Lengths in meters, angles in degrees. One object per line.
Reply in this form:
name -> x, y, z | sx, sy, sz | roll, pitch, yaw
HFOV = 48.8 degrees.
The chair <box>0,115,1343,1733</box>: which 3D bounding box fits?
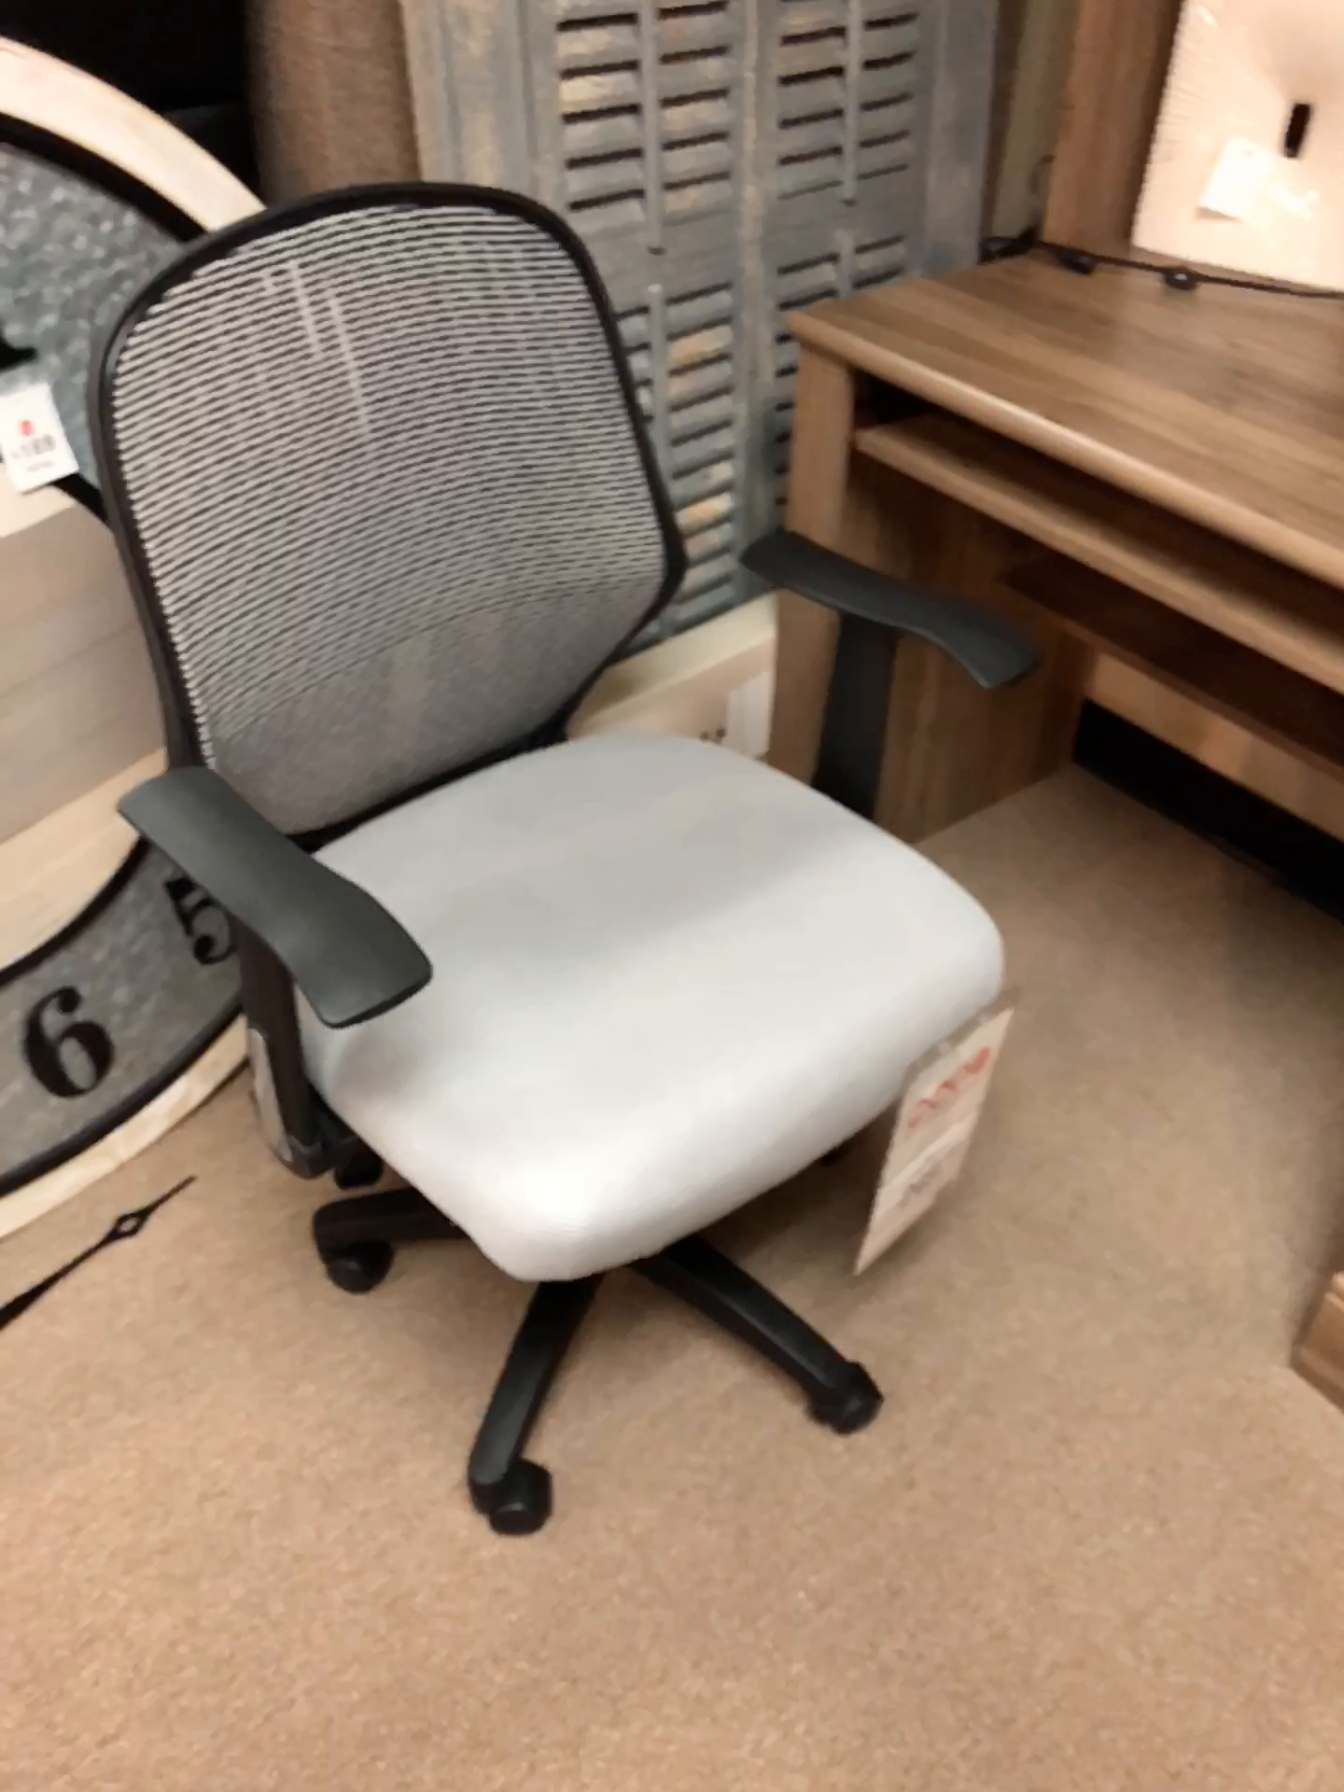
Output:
chair -> -0.038, -0.024, 1.146 | 0.612, 0.864, 0.673 | -29, 48, -32
